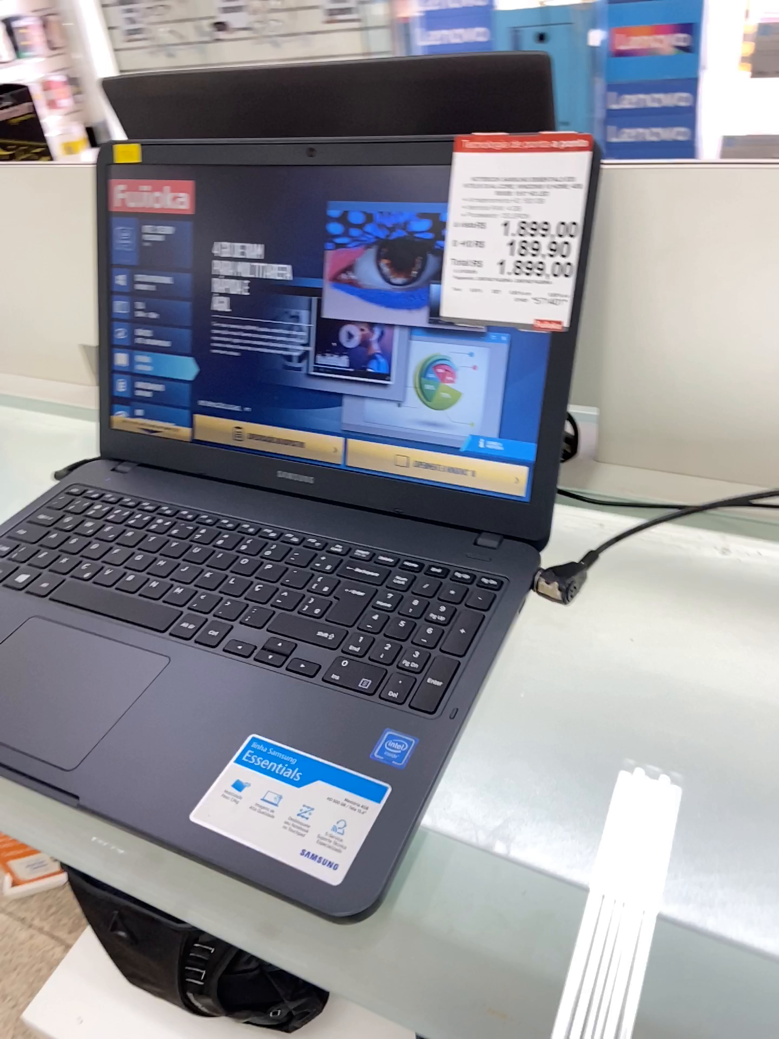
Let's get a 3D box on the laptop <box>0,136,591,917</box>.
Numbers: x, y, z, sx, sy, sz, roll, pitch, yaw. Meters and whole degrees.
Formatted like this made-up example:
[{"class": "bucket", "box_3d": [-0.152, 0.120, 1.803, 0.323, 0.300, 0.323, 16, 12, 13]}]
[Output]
[{"class": "laptop", "box_3d": [-0.114, -0.059, 0.455, 0.367, 0.207, 0.348, 11, 40, 25]}]
